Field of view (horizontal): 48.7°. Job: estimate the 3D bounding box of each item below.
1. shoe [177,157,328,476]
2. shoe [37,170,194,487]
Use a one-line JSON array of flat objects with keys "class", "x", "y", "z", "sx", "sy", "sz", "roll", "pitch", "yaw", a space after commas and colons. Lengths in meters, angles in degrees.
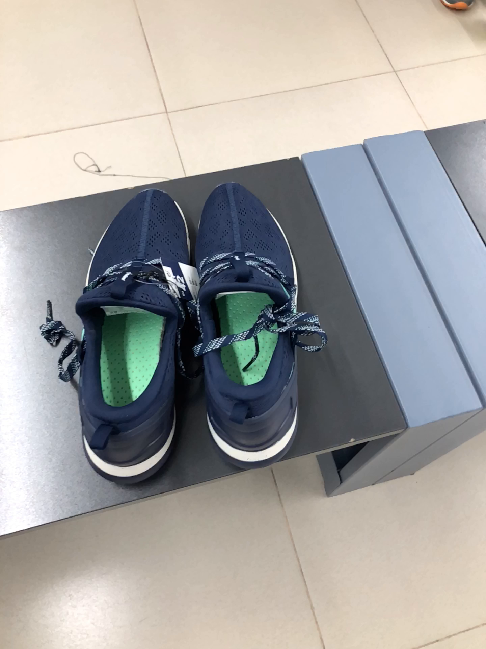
[{"class": "shoe", "x": -0.001, "y": -0.008, "z": 0.475, "sx": 0.100, "sy": 0.120, "sz": 0.251, "roll": -3, "pitch": 64, "yaw": -3}, {"class": "shoe", "x": -0.101, "y": 0.002, "z": 0.478, "sx": 0.100, "sy": 0.120, "sz": 0.251, "roll": -3, "pitch": 64, "yaw": -3}]
